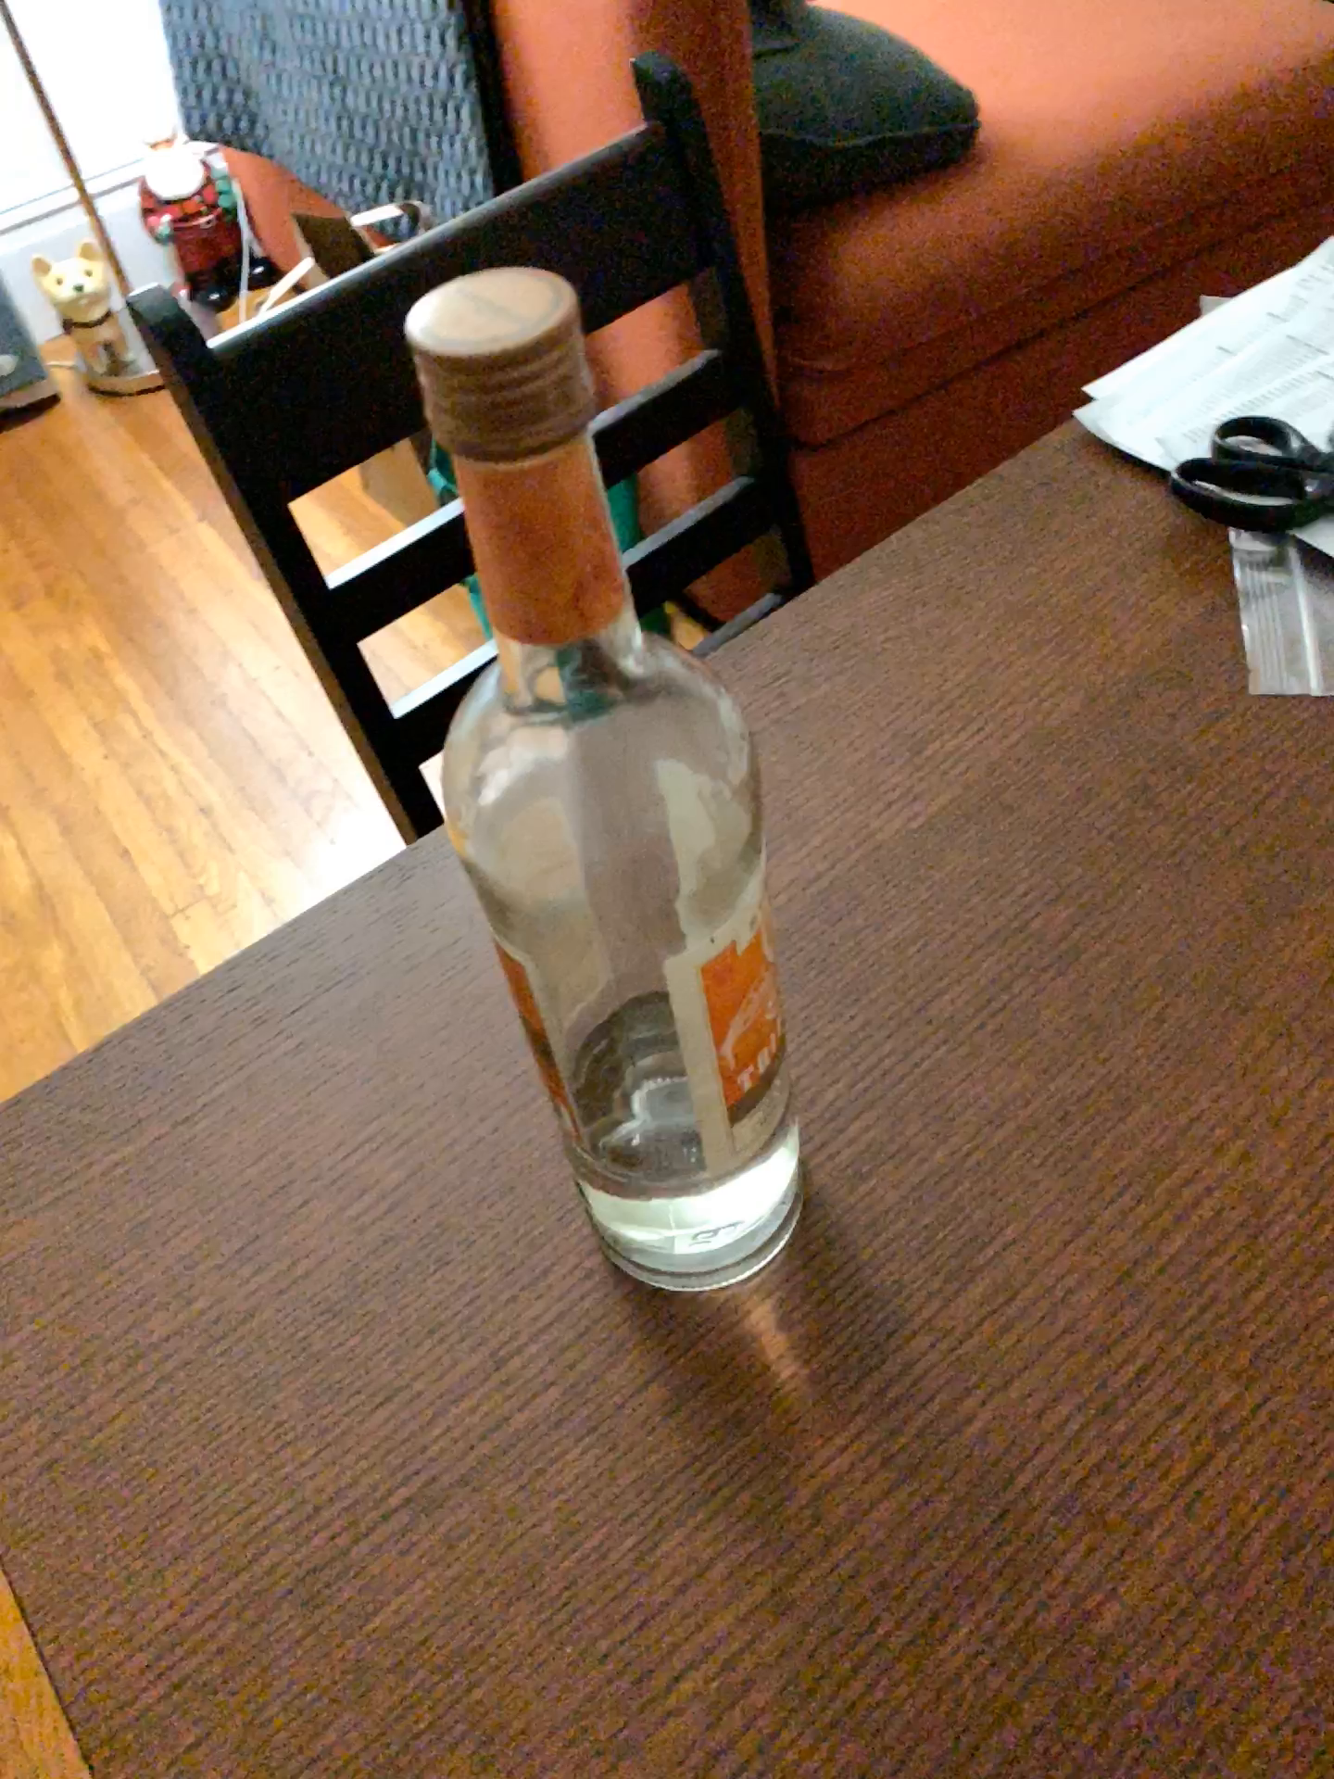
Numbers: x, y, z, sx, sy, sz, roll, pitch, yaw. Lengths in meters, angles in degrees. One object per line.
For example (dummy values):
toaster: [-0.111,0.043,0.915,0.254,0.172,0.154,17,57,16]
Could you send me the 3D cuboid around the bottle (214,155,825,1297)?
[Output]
bottle: [-0.006,-0.004,0.342,0.080,0.298,0.090,-1,50,8]
